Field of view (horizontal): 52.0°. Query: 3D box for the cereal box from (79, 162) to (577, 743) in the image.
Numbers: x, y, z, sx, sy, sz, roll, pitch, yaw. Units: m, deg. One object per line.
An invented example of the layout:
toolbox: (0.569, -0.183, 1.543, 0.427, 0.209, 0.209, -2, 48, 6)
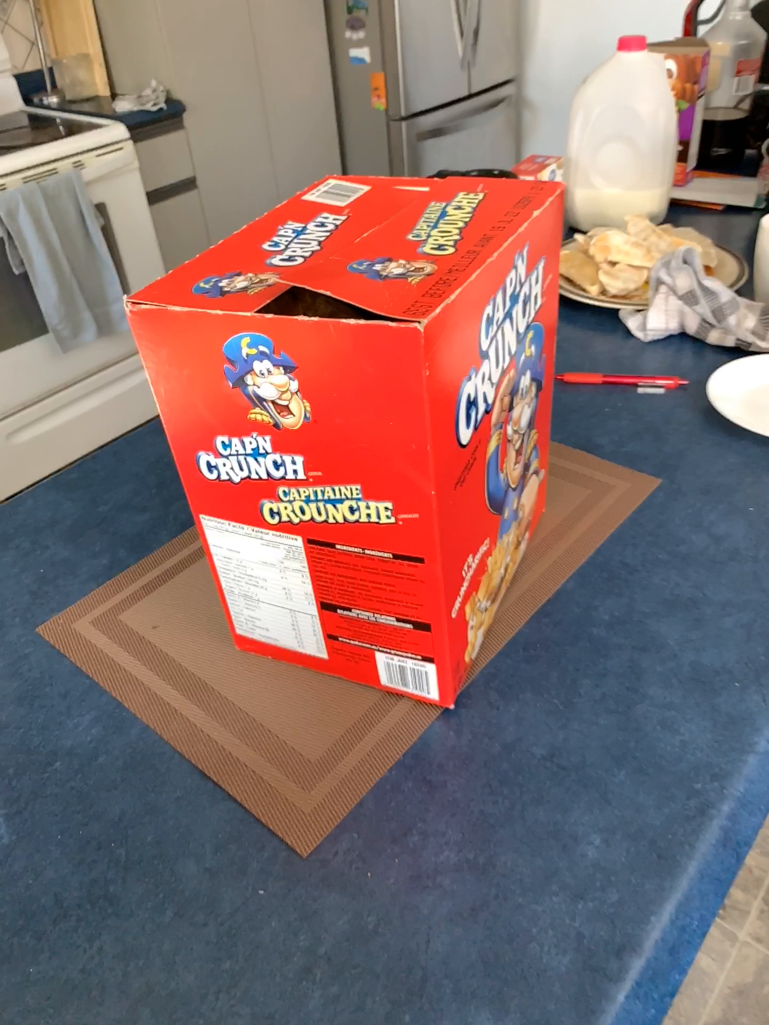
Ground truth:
cereal box: (-0.005, -0.062, 0.579, 0.210, 0.297, 0.272, 12, 40, 22)
